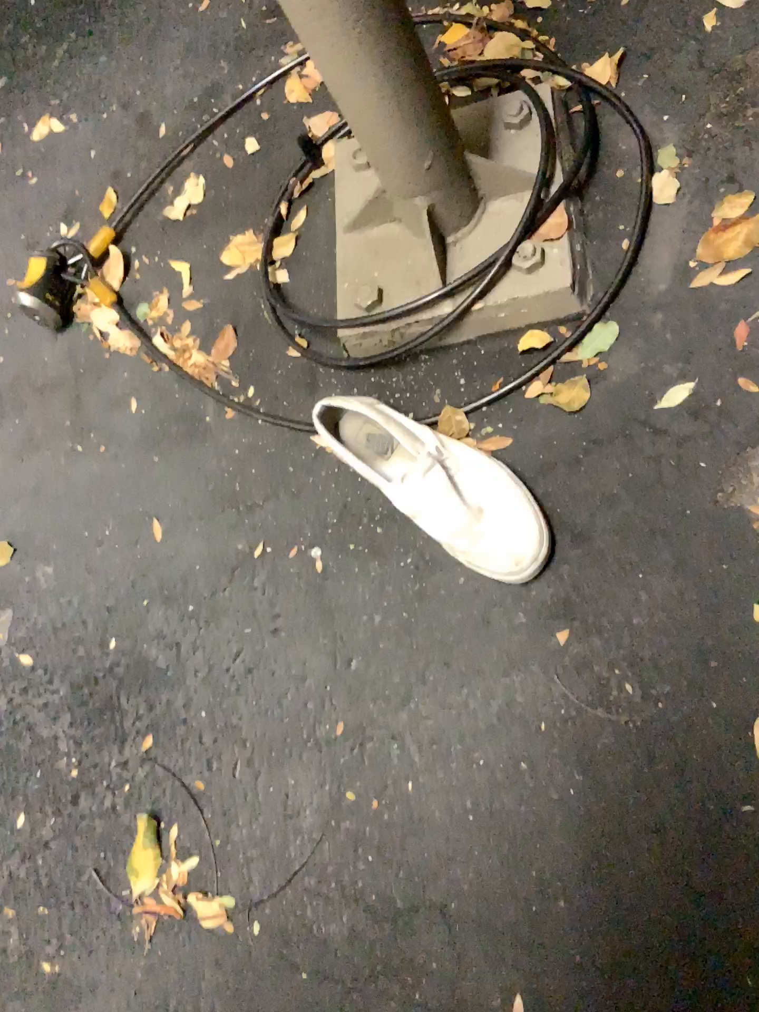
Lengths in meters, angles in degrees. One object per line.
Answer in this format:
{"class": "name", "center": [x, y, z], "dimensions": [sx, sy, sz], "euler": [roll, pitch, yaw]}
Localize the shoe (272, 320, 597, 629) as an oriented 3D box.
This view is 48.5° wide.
{"class": "shoe", "center": [0.050, -0.035, 0.832], "dimensions": [0.120, 0.100, 0.310], "euler": [-48, 63, 2]}
